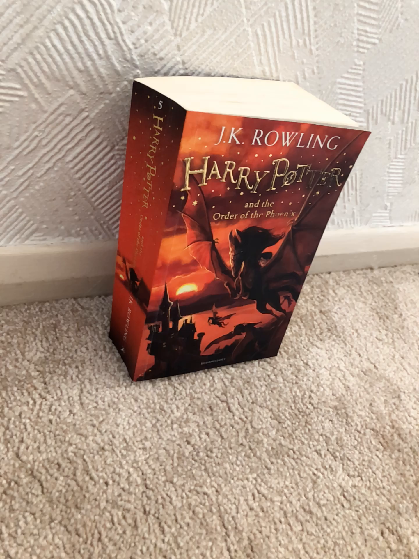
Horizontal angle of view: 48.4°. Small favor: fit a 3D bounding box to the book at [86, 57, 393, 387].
[{"bbox_3d":[0.005,-0.034,0.333,0.147,0.189,0.092,-4,40,-28],"label":"book"}]
